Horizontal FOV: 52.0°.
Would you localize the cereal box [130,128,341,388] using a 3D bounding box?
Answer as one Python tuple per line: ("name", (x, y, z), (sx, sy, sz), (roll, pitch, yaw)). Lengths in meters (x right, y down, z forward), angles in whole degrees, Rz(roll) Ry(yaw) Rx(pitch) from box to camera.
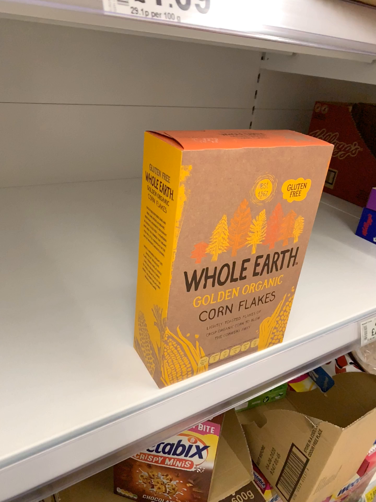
("cereal box", (0.046, 0.000, 0.462), (0.201, 0.268, 0.091), (-10, 30, -30))
